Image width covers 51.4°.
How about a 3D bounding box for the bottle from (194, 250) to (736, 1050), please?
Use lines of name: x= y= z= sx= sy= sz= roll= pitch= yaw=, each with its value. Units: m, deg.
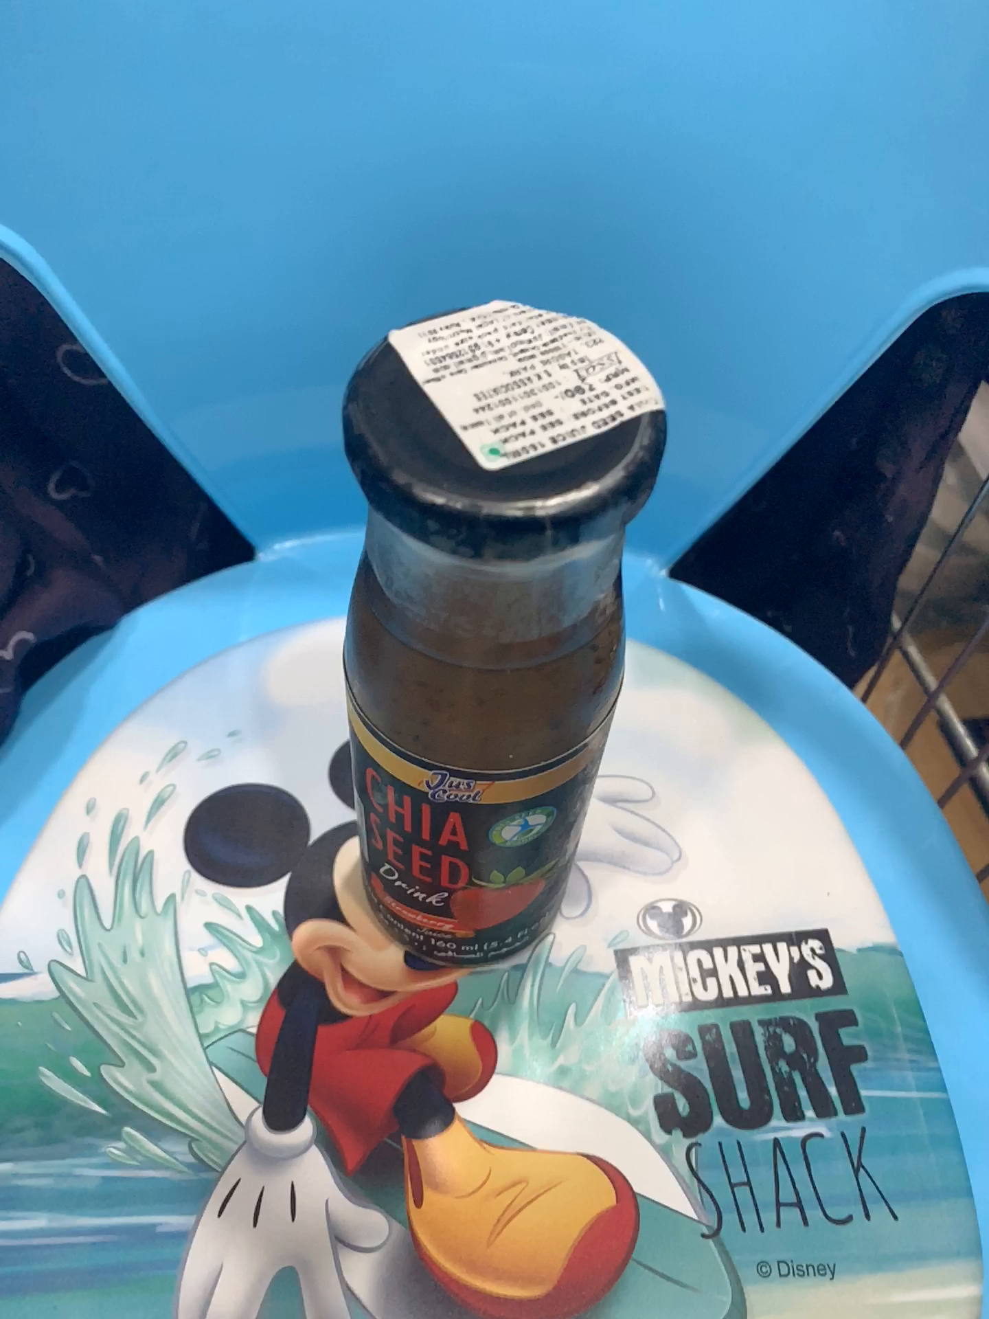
bottle: x=-0.004 y=0.009 z=0.175 sx=0.050 sy=0.130 sz=0.050 roll=2 pitch=49 yaw=-2
